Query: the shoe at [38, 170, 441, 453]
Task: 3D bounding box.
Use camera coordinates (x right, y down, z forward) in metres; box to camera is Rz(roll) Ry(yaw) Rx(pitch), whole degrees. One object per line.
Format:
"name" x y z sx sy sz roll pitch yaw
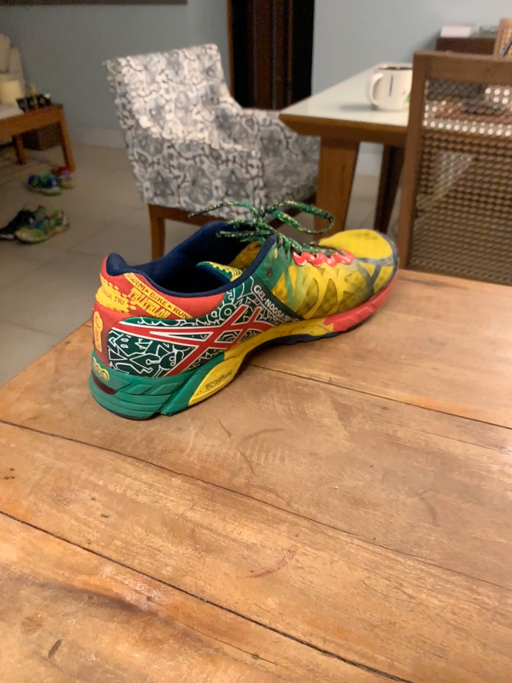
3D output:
"shoe" 0.001 -0.046 0.431 0.295 0.102 0.114 -24 40 -29
